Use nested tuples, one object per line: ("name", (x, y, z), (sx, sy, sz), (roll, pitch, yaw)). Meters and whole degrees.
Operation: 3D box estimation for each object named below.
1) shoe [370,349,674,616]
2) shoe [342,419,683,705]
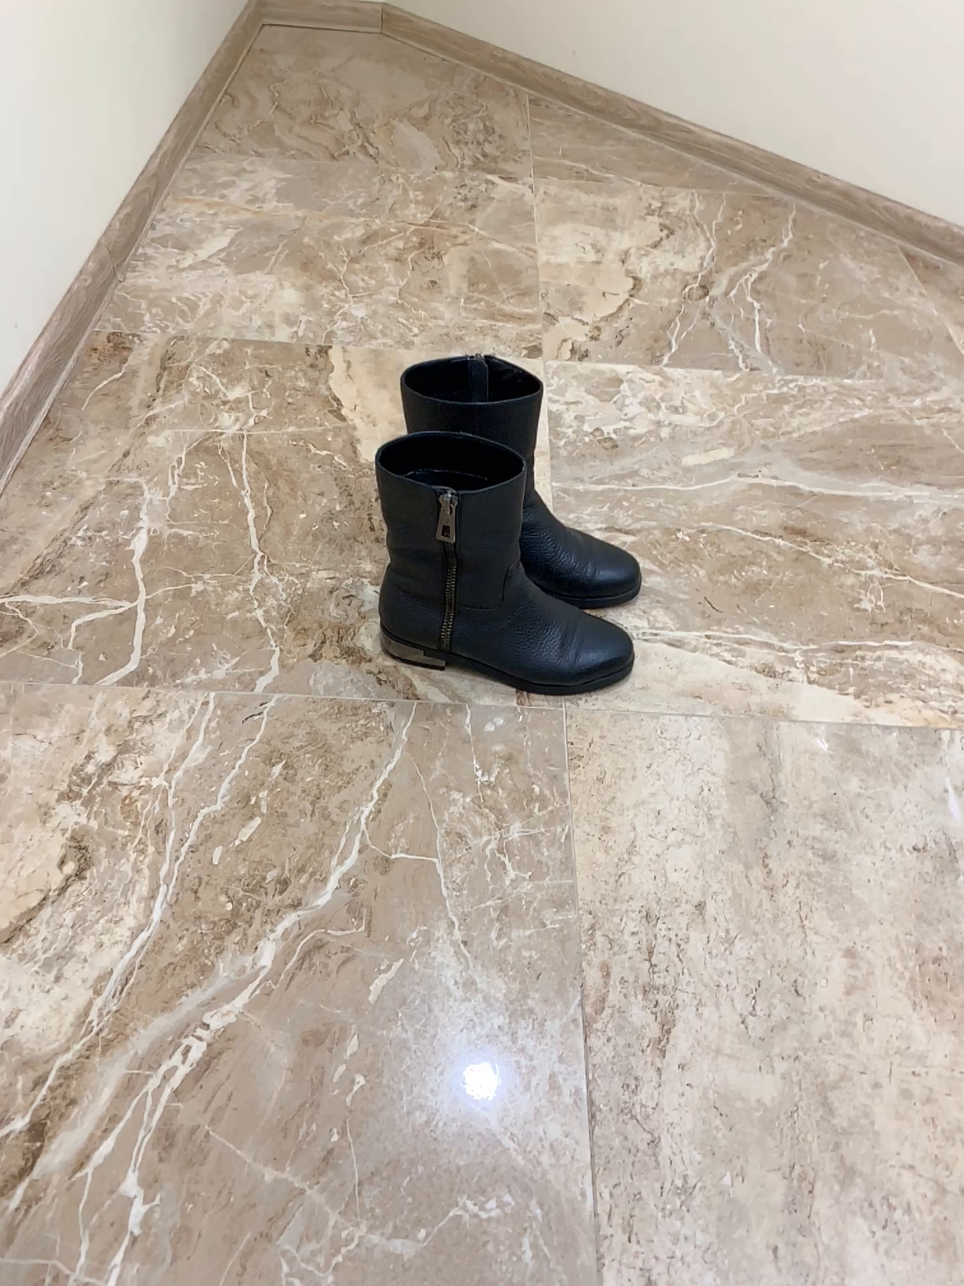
("shoe", (0.031, -0.148, 0.942), (0.260, 0.209, 0.090), (7, 46, 1))
("shoe", (0.020, -0.064, 0.853), (0.260, 0.209, 0.090), (7, 46, 1))
